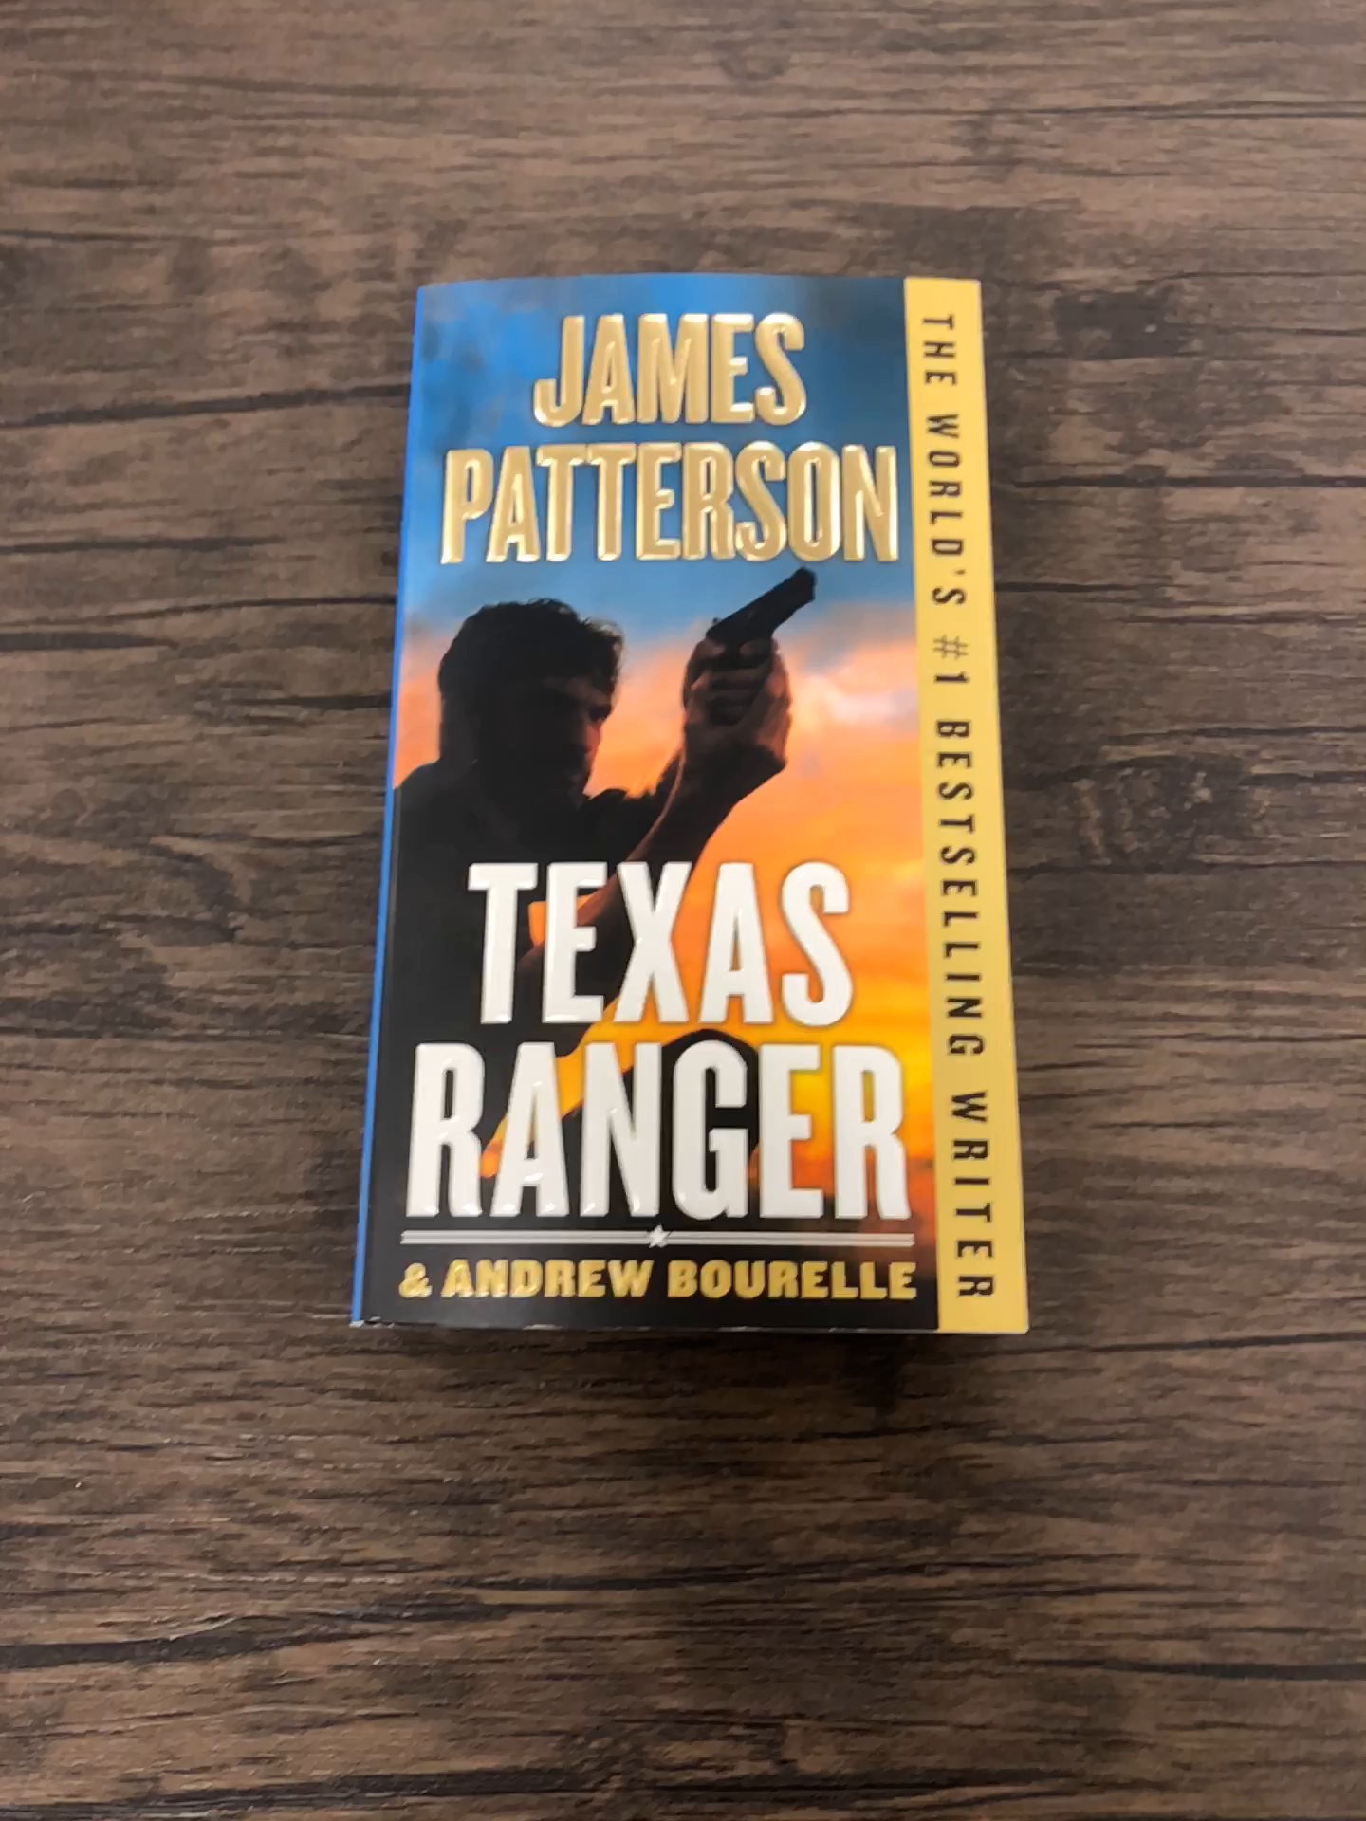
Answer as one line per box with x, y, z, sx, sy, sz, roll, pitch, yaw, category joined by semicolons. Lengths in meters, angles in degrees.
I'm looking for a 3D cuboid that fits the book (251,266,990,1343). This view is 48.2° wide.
-0.009;-0.020;0.264;0.107;0.040;0.180;1;75;-1;book
